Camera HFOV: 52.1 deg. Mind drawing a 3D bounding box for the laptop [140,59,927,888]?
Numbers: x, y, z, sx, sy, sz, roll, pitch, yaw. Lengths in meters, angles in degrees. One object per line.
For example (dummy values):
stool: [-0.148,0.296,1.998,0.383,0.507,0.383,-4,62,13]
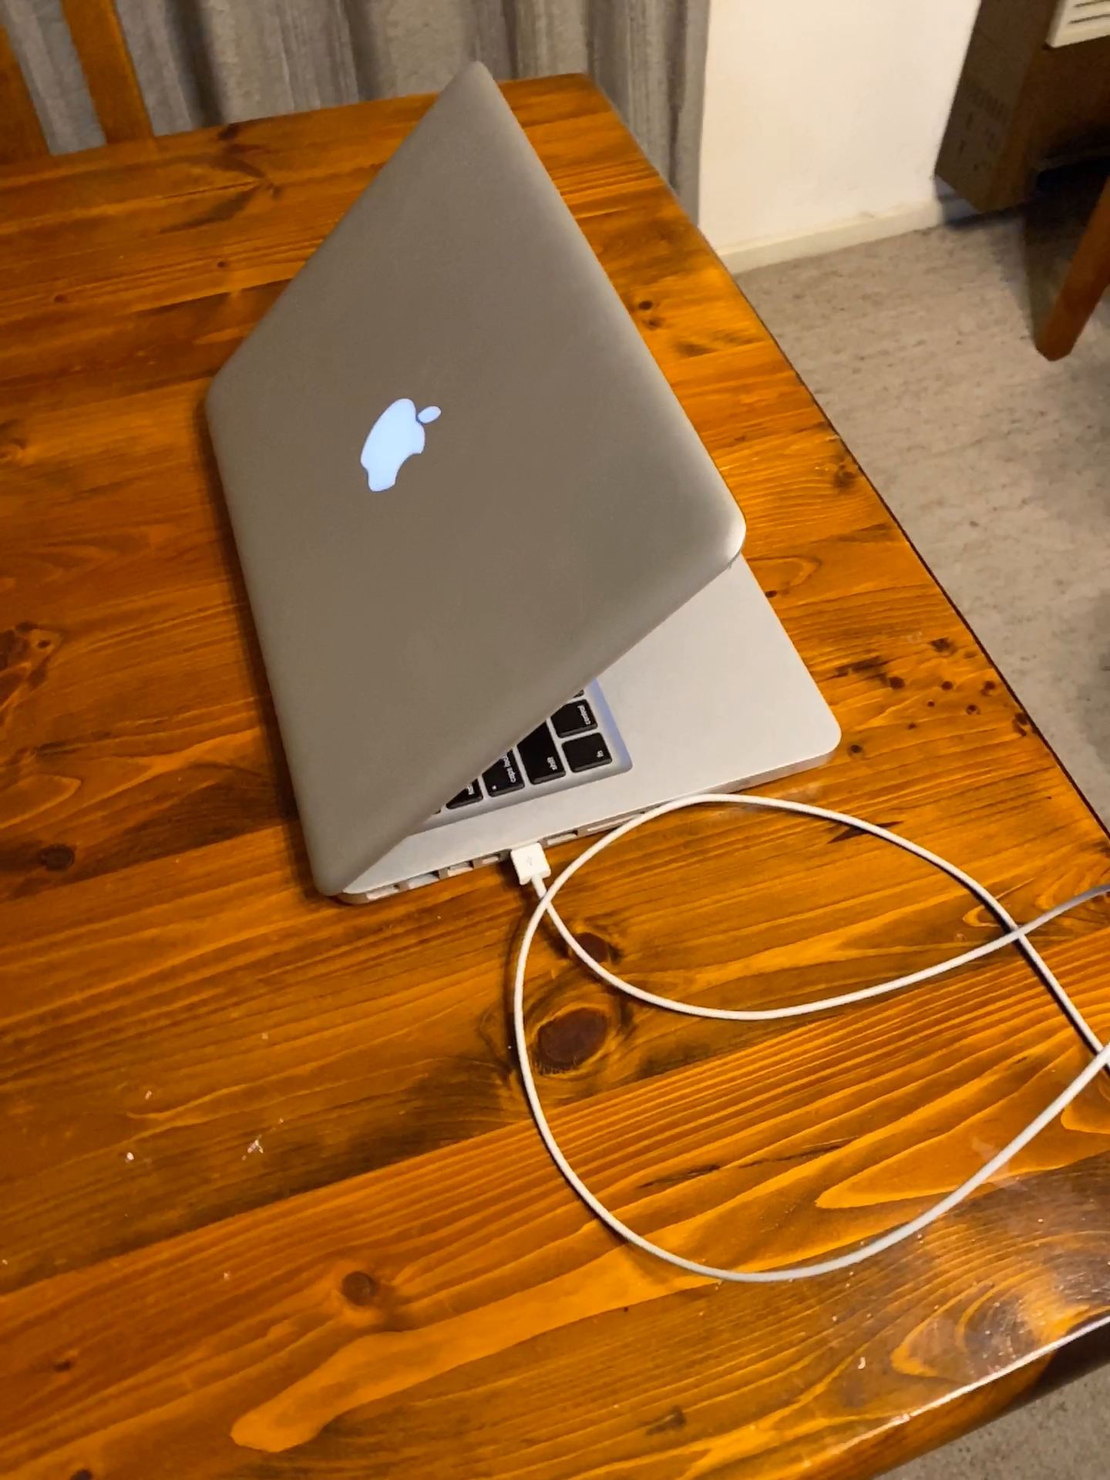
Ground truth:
laptop: [-0.029,-0.130,0.483,0.211,0.136,0.312,-15,57,-10]
